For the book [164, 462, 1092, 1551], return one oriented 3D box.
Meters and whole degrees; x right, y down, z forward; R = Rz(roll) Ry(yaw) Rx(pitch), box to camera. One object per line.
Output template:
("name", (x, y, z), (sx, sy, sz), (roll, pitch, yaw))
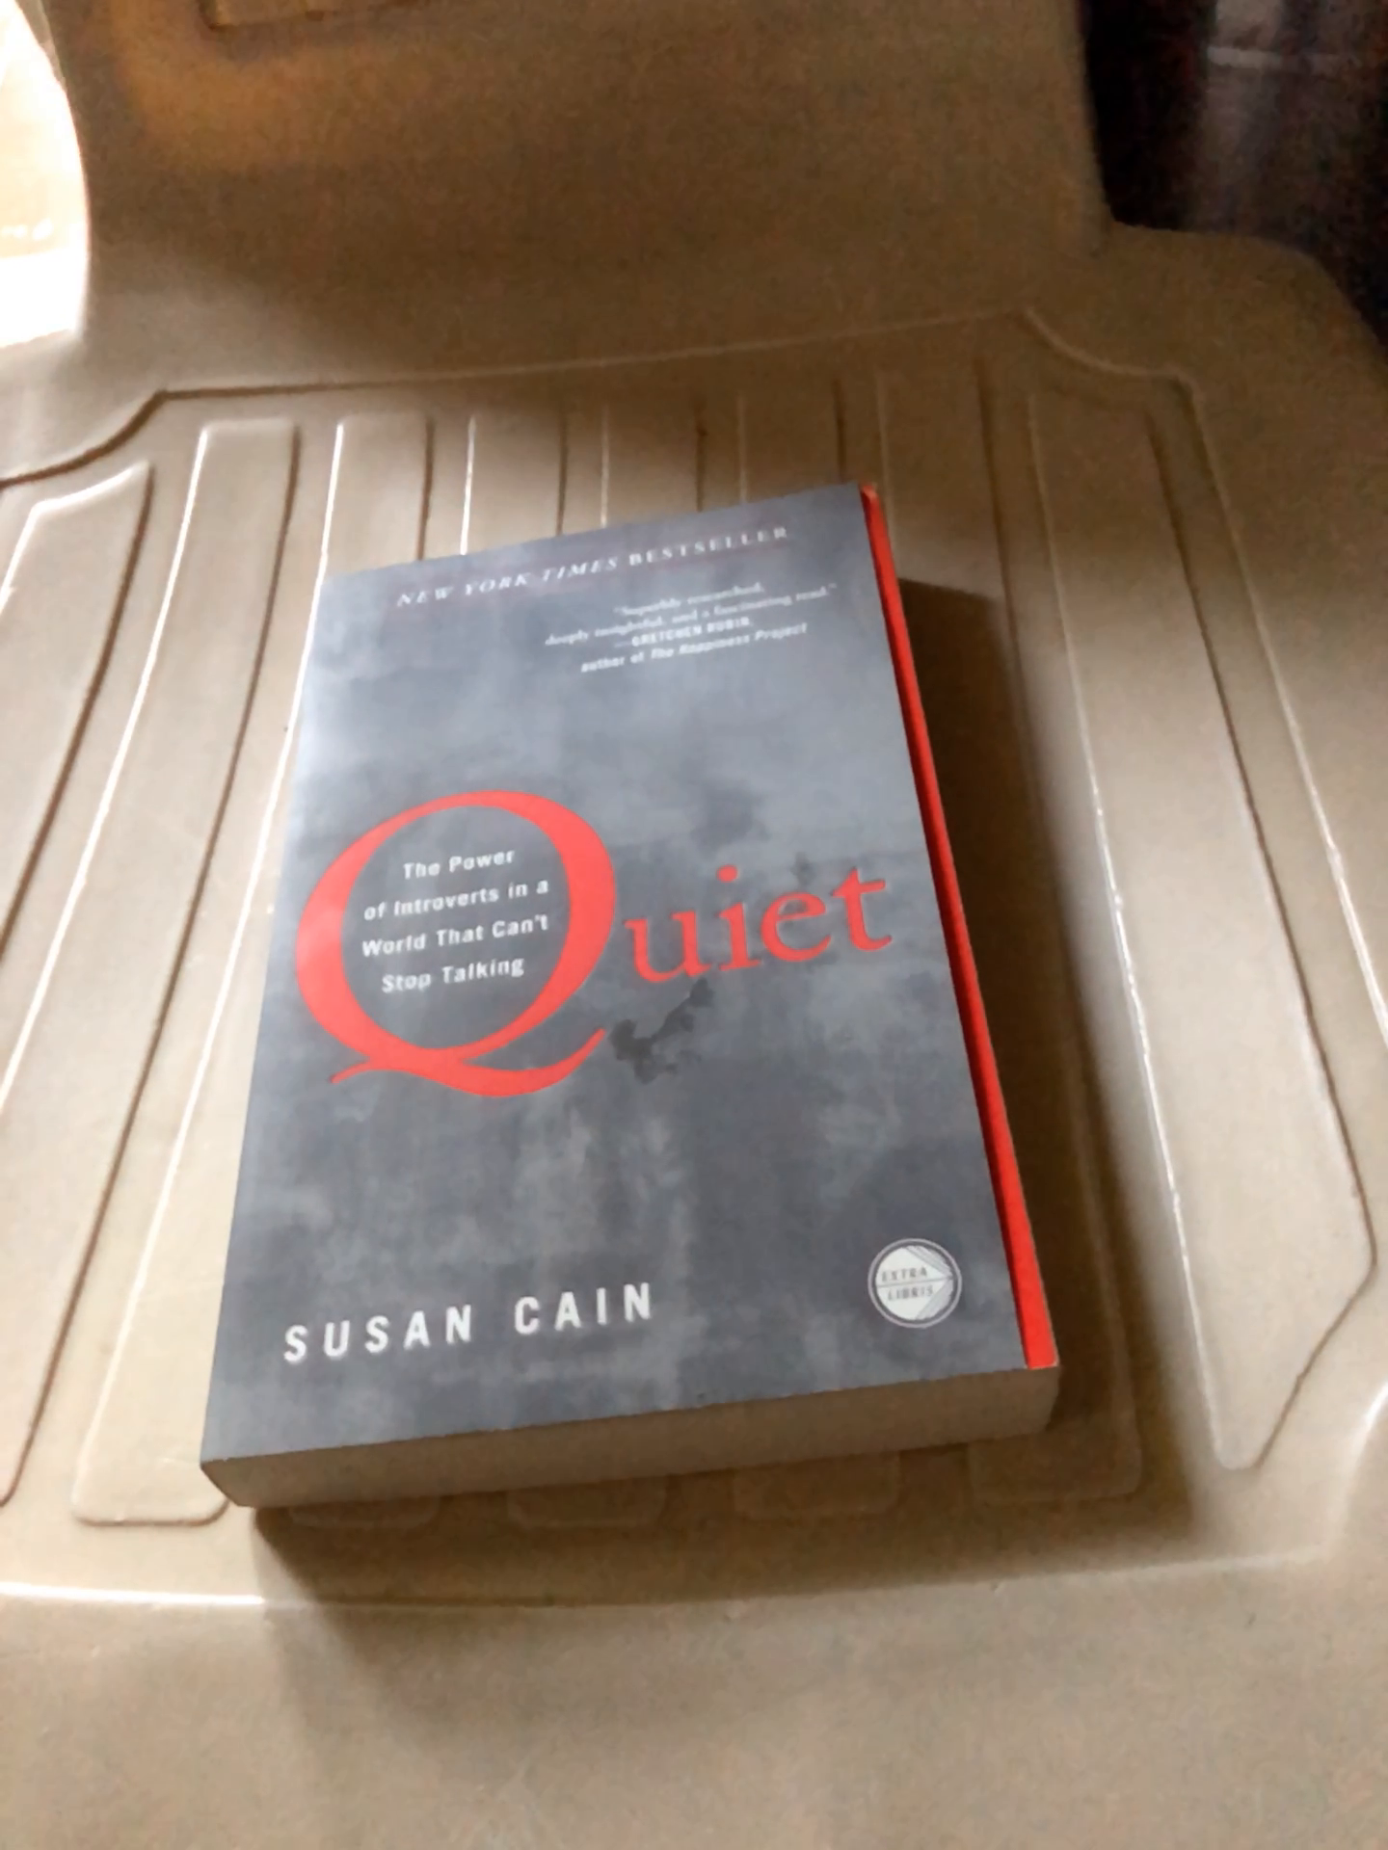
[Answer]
("book", (-0.015, 0.000, 0.285), (0.130, 0.030, 0.200), (-7, 54, 4))
